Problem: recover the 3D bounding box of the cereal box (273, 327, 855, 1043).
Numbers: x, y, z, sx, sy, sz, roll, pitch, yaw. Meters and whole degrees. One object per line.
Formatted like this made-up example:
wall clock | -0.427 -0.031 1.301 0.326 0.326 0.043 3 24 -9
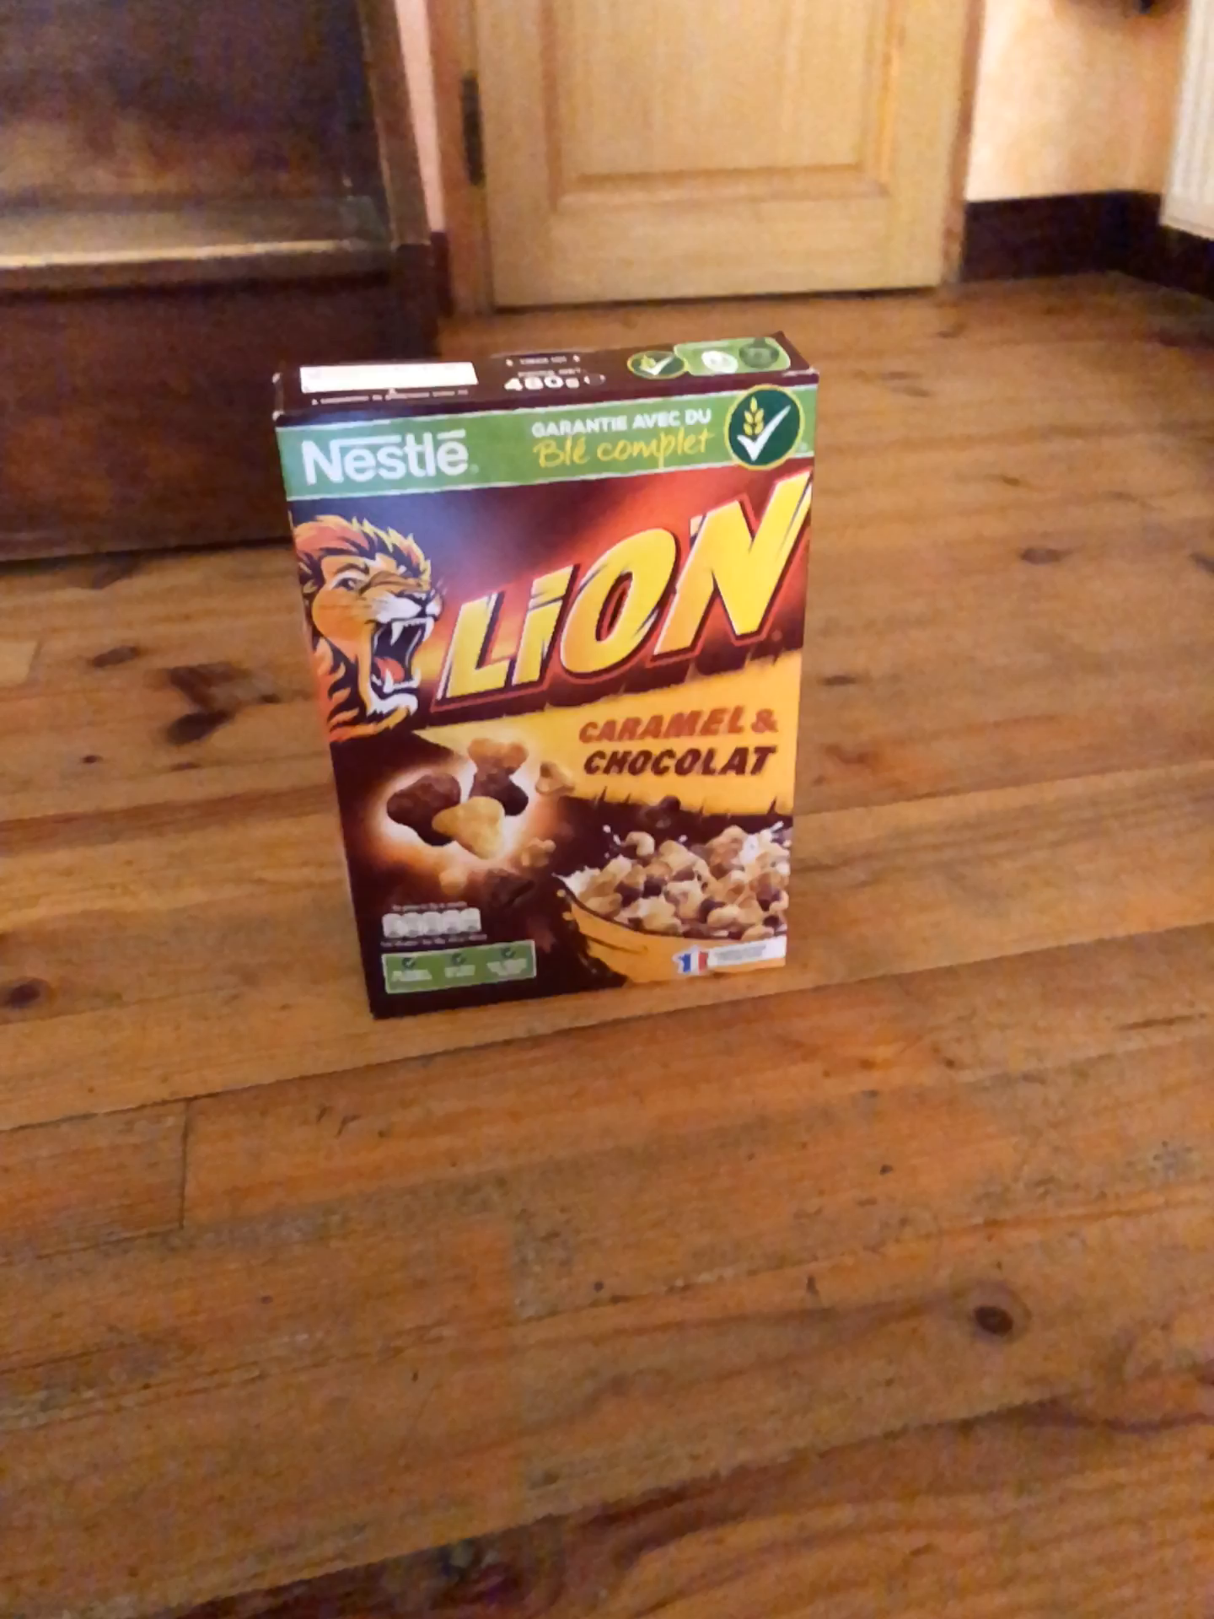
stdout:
cereal box | -0.013 -0.042 0.553 0.200 0.278 0.060 -6 32 -8
